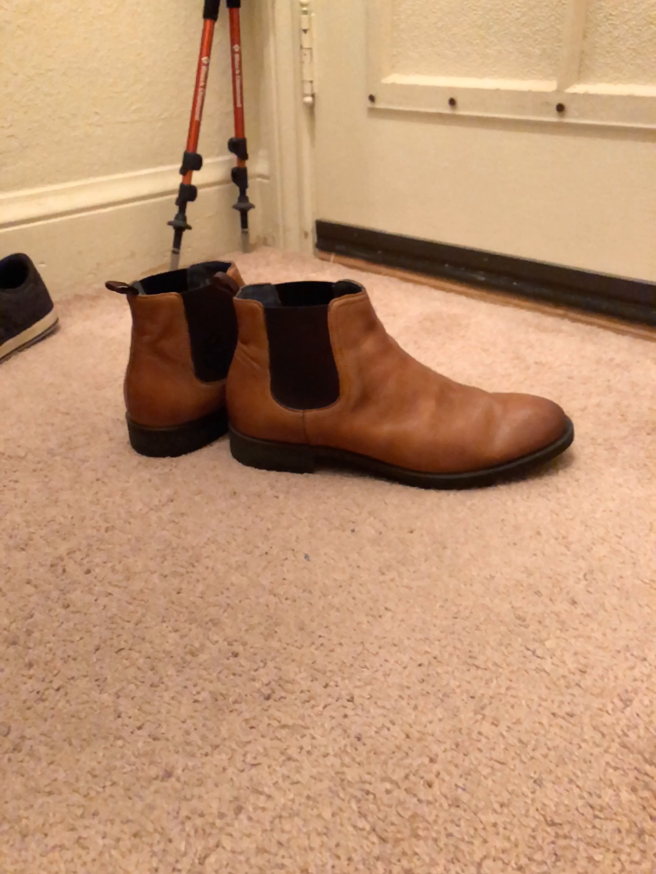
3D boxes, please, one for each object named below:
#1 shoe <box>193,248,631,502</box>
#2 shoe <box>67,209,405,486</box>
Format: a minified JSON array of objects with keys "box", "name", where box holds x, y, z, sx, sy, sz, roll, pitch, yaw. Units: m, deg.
[{"box":[0.063,-0.057,0.606,0.312,0.165,0.110,4,30,8],"name":"shoe"},{"box":[-0.070,-0.105,0.715,0.313,0.165,0.109,-27,38,-37],"name":"shoe"}]
